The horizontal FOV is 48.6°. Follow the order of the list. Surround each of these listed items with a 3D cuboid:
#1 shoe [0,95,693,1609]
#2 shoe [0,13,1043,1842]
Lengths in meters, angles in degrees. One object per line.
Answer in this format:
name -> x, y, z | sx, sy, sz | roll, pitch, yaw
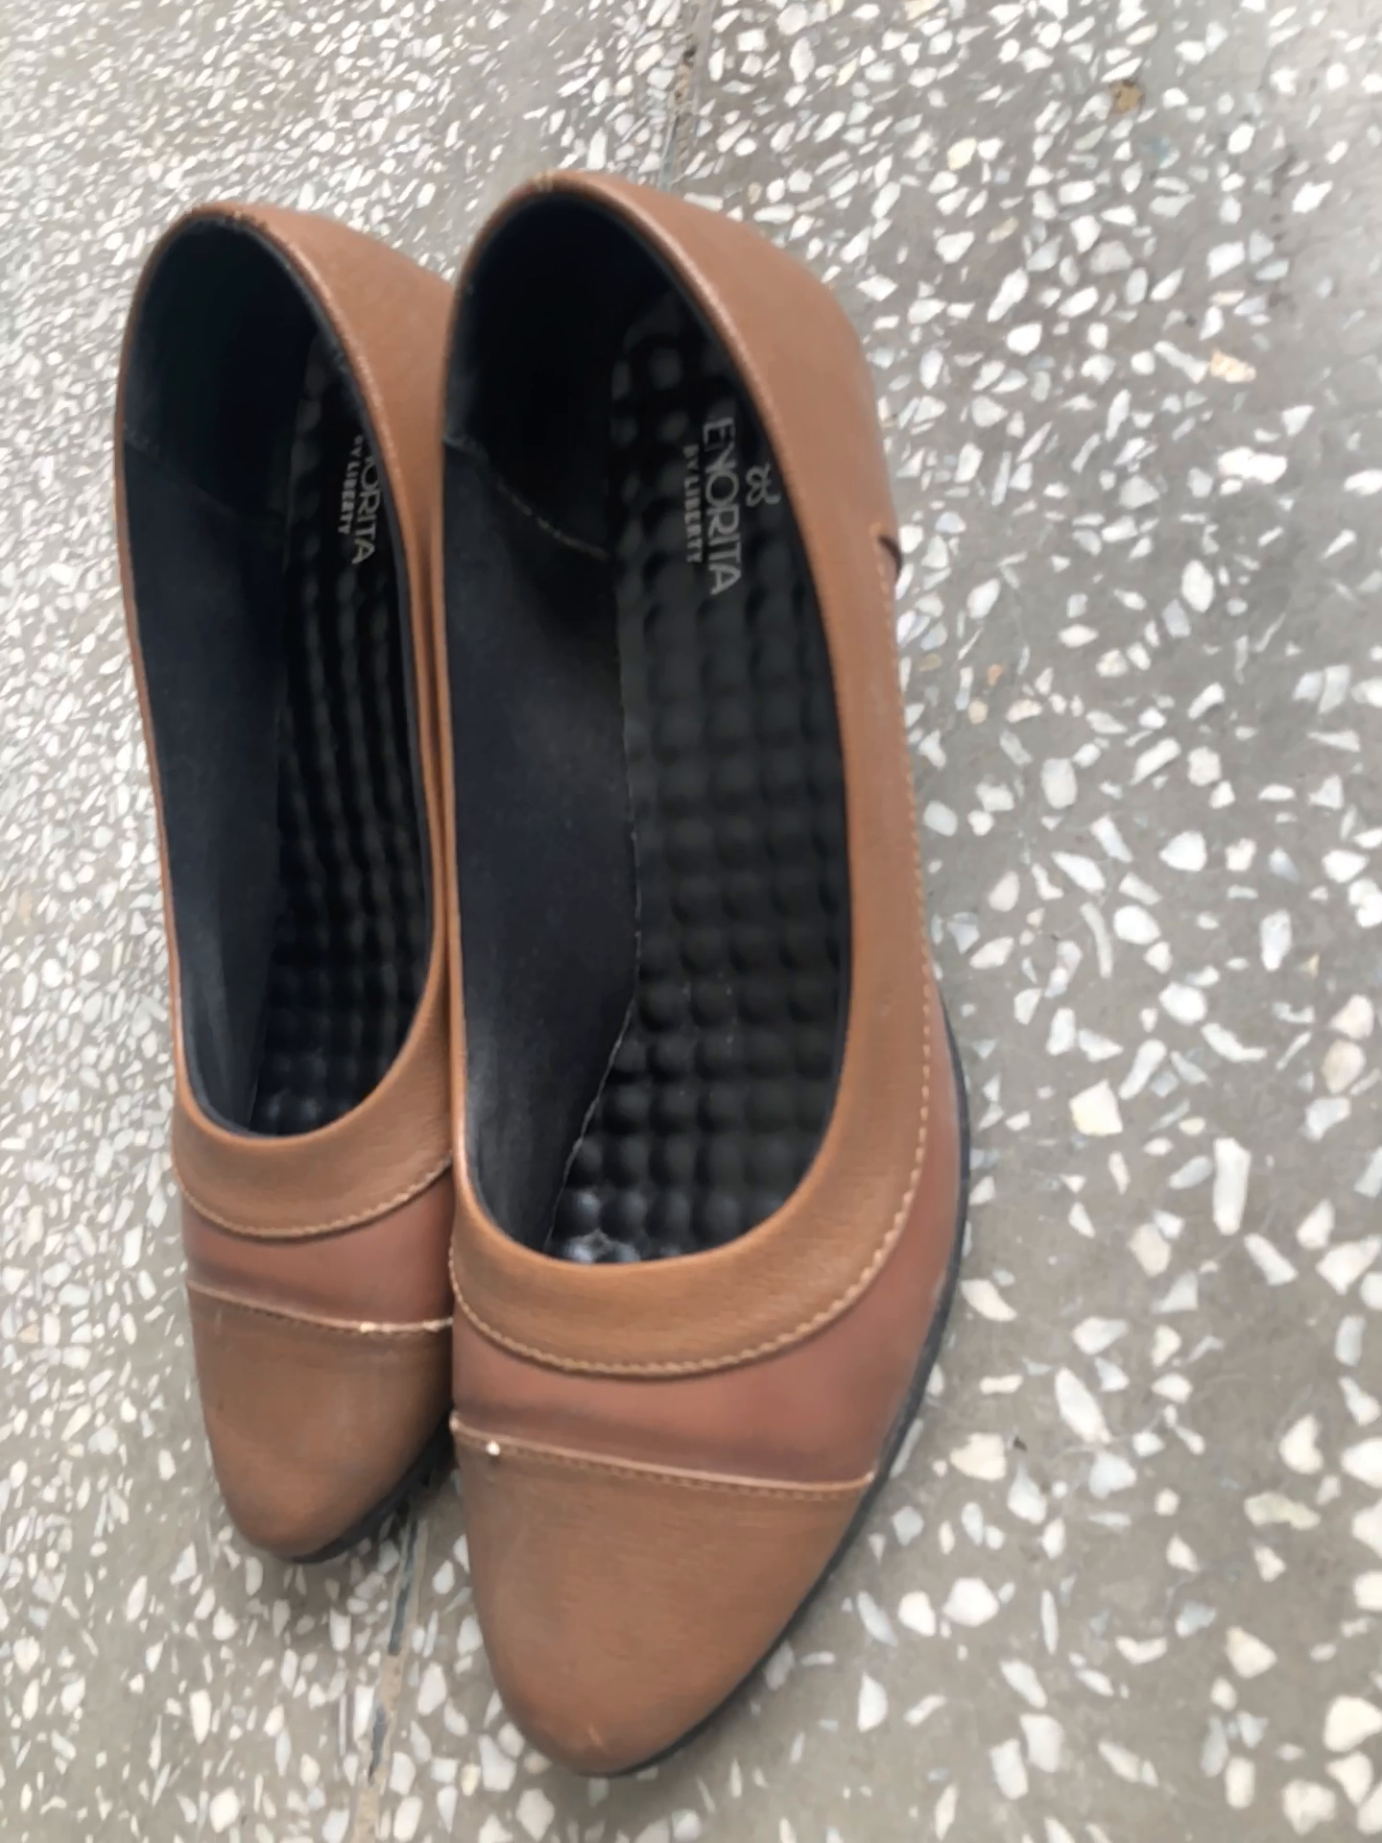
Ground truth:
shoe -> -0.081, -0.011, 0.294 | 0.090, 0.096, 0.244 | -1, 72, 32
shoe -> -0.013, 0.003, 0.244 | 0.093, 0.096, 0.240 | -2, 71, 31
